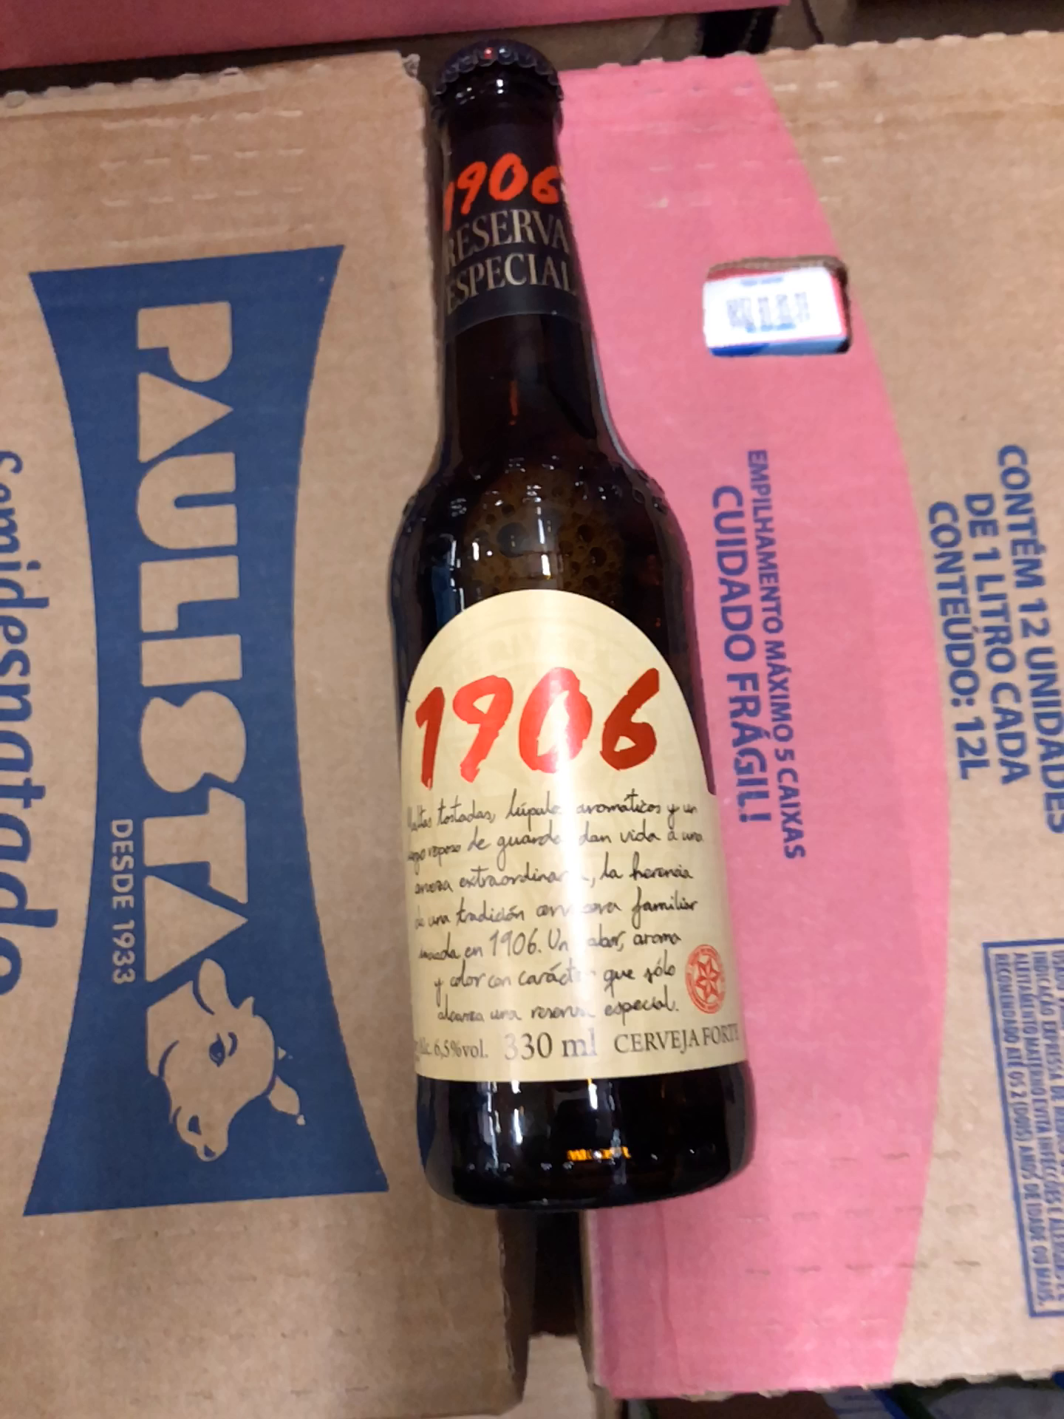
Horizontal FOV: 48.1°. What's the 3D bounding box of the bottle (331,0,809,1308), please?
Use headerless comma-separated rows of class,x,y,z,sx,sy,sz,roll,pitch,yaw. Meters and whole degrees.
bottle,0.002,-0.031,0.252,0.070,0.060,0.270,-4,80,-1
